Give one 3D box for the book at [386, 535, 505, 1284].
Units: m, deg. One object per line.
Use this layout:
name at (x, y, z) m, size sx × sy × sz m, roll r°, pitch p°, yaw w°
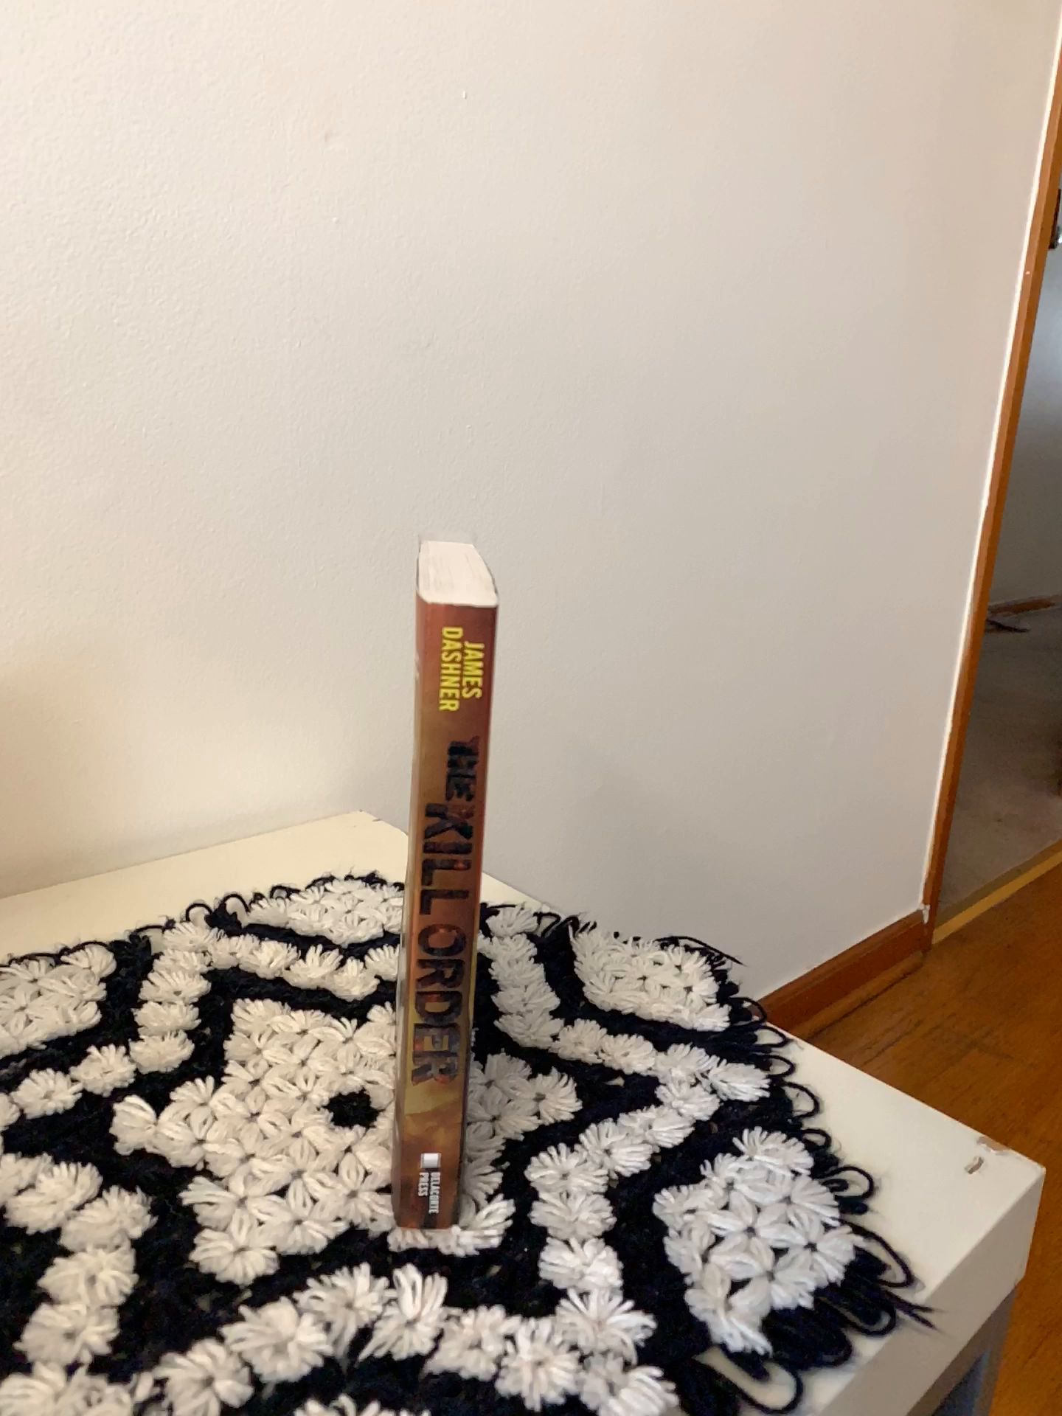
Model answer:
book at (-0.033, 0.056, 0.399) m, size 0.030 × 0.219 × 0.161 m, roll 1°, pitch 14°, yaw -5°
